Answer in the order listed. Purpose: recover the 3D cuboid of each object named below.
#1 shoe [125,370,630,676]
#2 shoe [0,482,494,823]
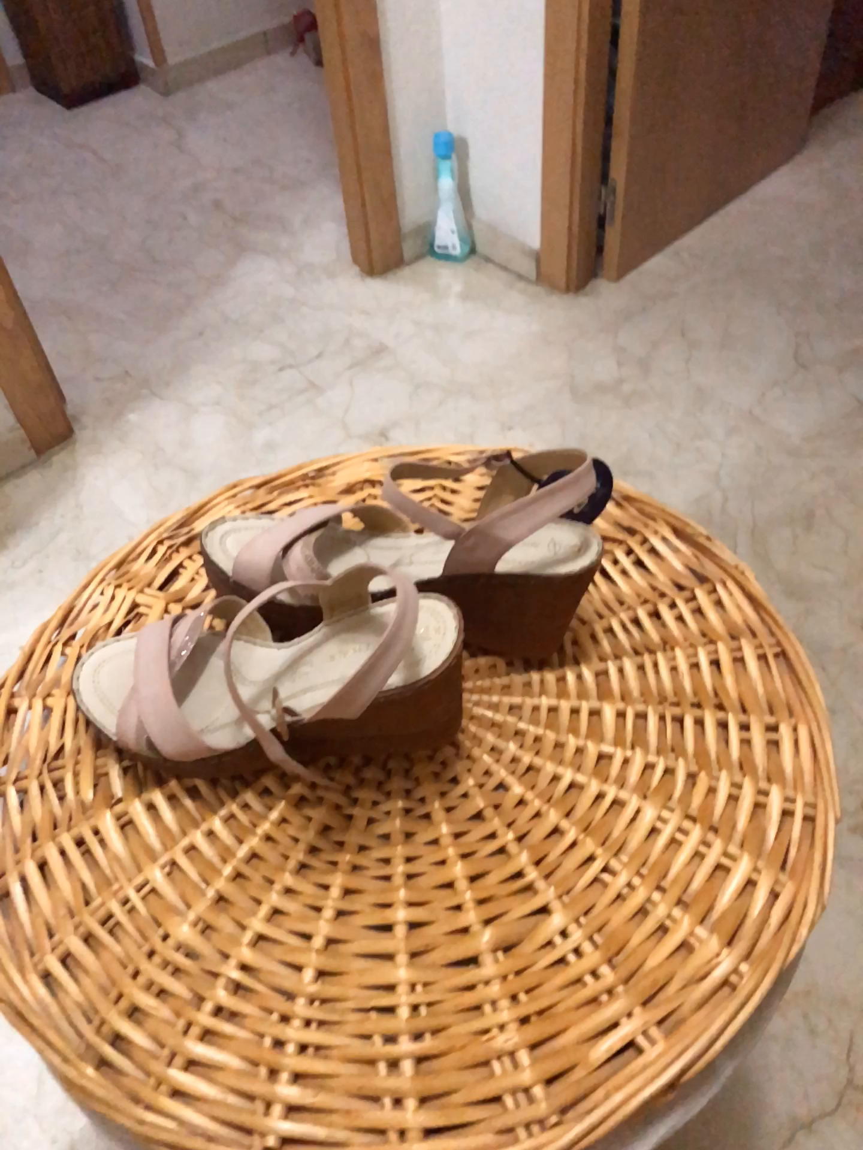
[{"bbox_3d":[-0.025,-0.034,0.562,0.260,0.104,0.100,9,50,13],"label":"shoe"},{"bbox_3d":[-0.101,0.037,0.502,0.251,0.100,0.112,6,49,11],"label":"shoe"}]
